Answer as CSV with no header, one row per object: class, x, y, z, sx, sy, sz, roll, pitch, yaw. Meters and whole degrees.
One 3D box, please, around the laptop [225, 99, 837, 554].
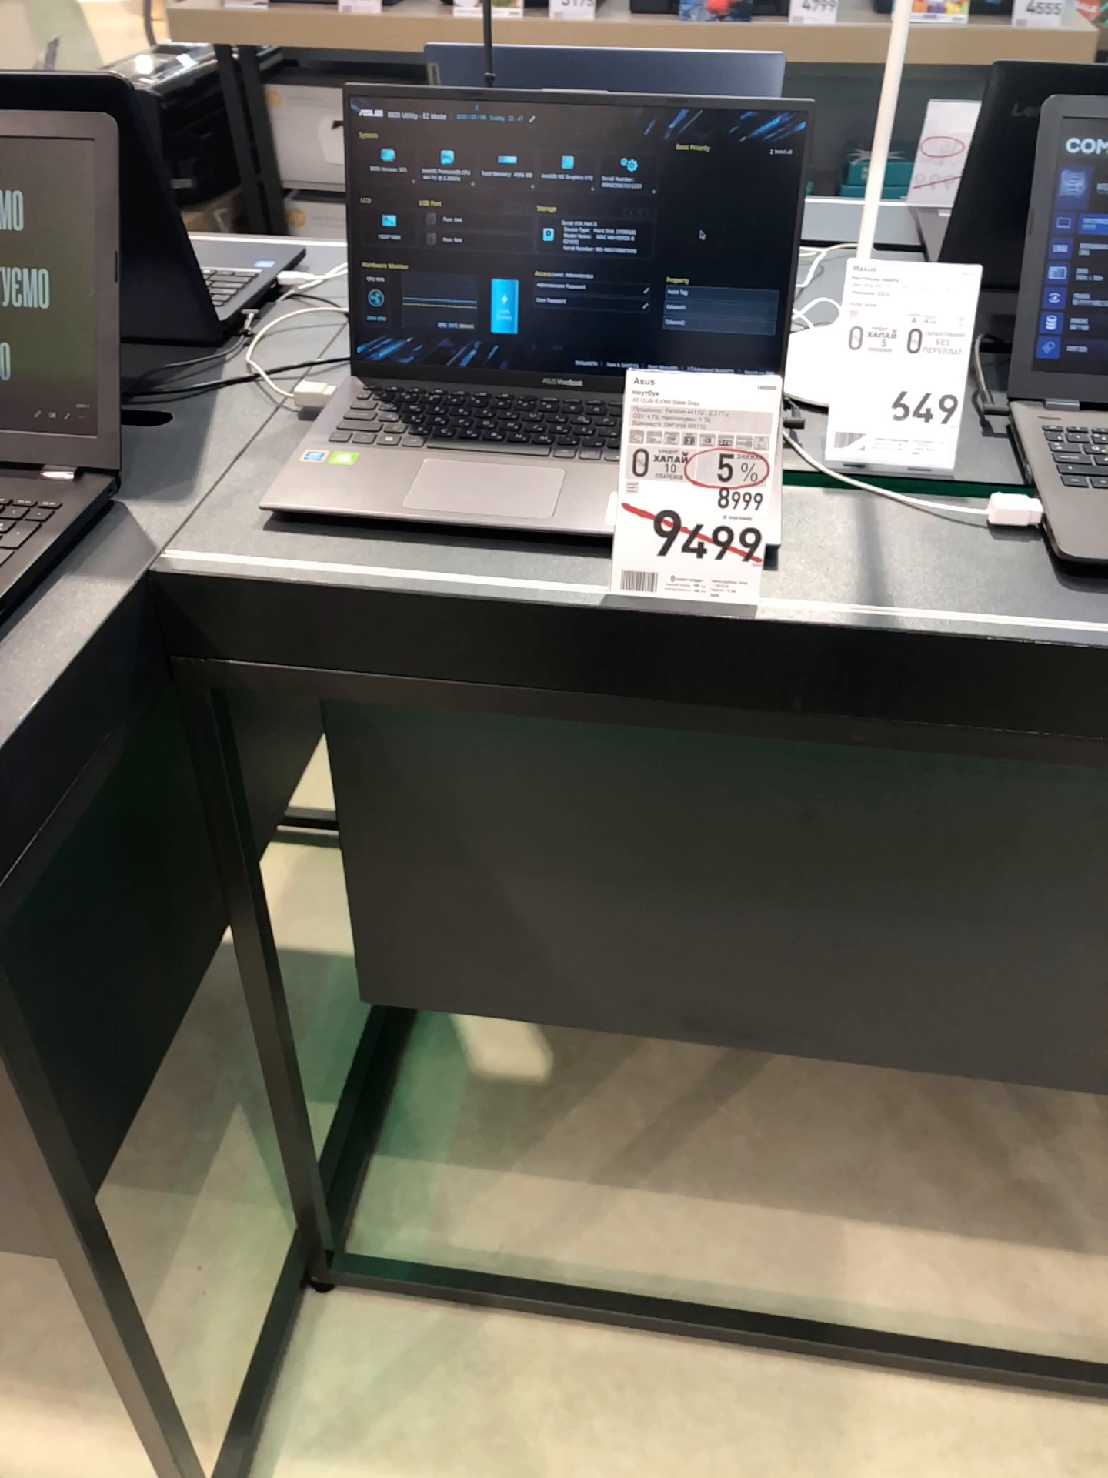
laptop,0.001,-0.307,0.863,0.355,0.200,0.288,5,39,9
